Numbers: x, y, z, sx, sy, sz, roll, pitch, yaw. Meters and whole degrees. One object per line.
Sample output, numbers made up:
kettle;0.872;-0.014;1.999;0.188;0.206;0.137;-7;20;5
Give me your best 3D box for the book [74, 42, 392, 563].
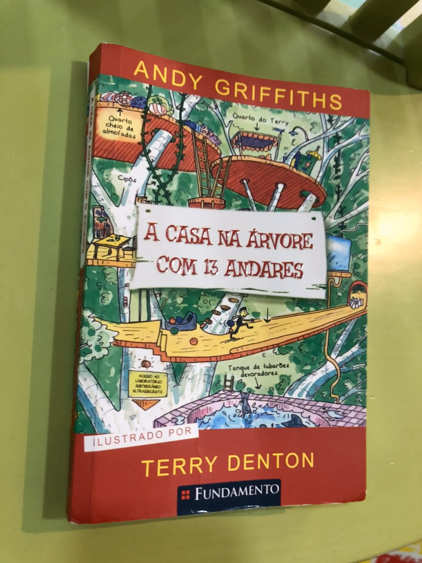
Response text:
book;0.013;0.010;0.225;0.137;0.040;0.210;4;83;-17
